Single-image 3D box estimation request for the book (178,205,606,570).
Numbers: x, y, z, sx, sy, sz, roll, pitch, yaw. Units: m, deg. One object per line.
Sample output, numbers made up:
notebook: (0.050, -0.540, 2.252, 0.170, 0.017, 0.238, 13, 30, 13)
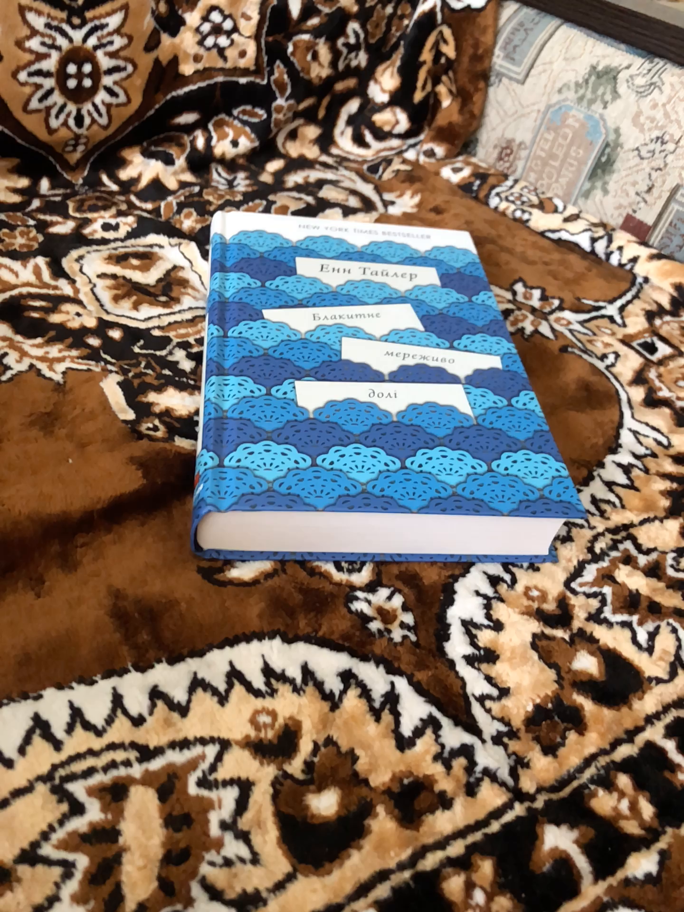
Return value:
book: (0.007, -0.048, 0.360, 0.154, 0.030, 0.234, 2, 42, -10)
